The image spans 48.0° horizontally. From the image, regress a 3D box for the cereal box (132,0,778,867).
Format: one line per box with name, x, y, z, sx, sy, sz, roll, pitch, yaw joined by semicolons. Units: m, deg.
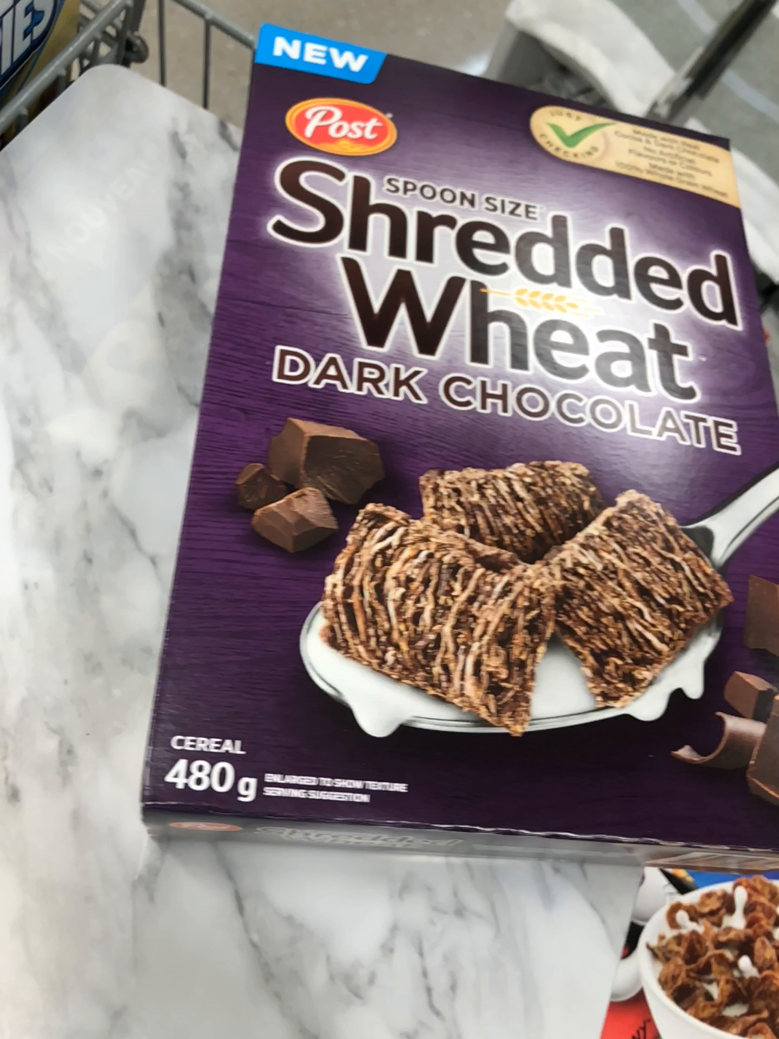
cereal box;0.031;-0.039;0.311;0.190;0.070;0.290;9;65;-14
